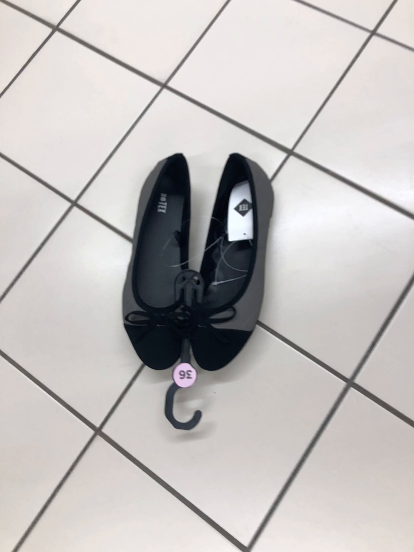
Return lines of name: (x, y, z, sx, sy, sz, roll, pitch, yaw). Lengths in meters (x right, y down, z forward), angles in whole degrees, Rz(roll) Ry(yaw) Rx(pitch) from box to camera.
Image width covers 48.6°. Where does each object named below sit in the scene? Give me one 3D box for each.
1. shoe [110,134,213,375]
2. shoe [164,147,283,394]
shoe: (-0.050, -0.019, 0.502, 0.078, 0.081, 0.242, 8, 75, -13)
shoe: (0.024, -0.004, 0.490, 0.078, 0.081, 0.242, 0, 74, 24)
